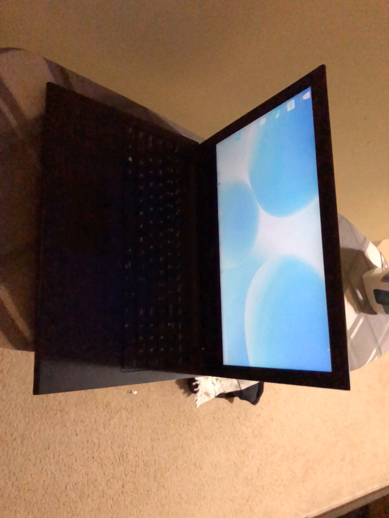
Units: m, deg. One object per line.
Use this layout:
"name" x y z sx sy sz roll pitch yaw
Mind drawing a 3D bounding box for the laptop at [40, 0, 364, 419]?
"laptop" 0.003 -0.037 0.480 0.248 0.231 0.352 8 76 -42
